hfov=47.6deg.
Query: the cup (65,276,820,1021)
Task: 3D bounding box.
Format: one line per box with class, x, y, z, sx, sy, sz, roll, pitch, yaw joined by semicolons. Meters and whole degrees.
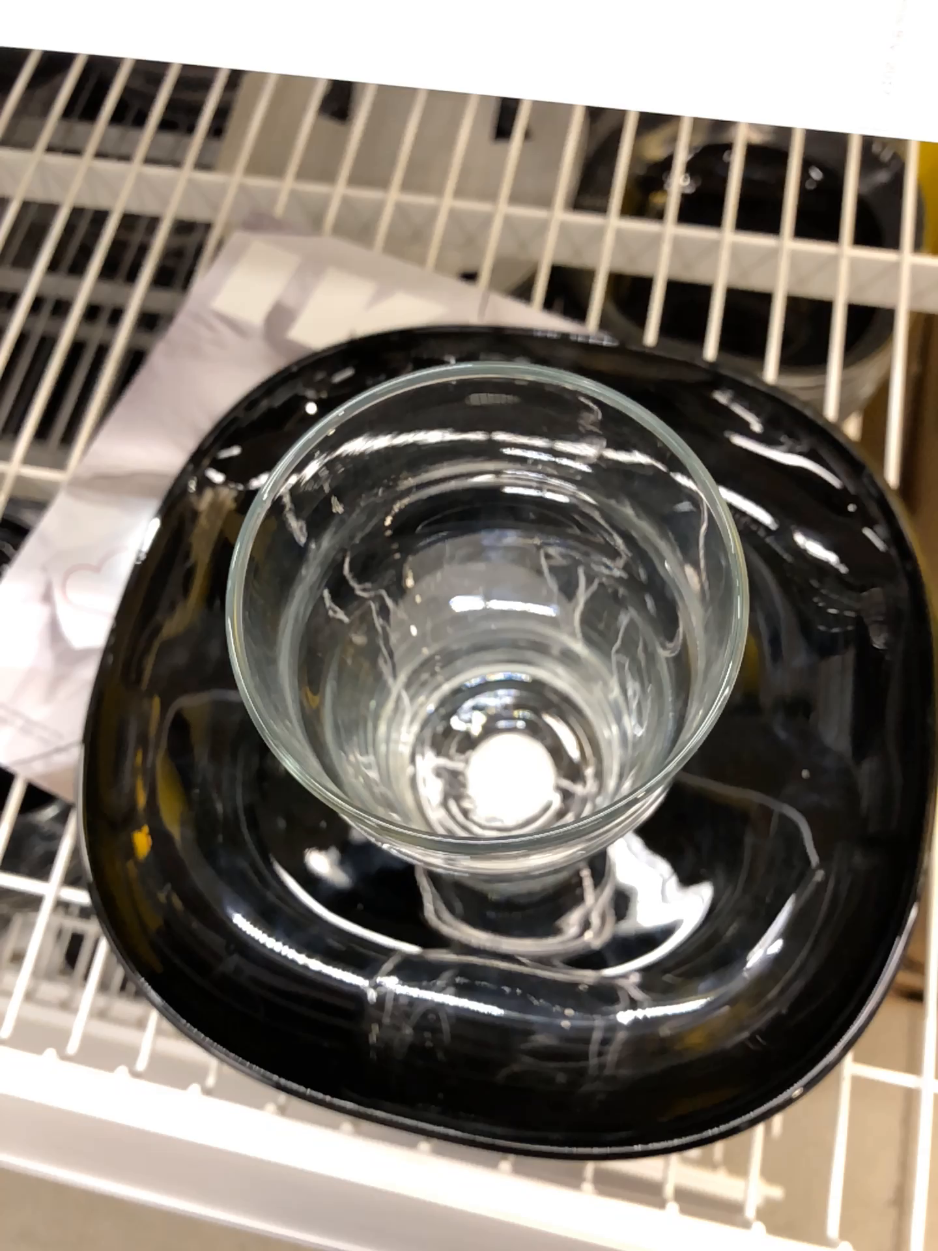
cup;0.000;0.019;0.237;0.090;0.140;0.090;-1;66;2
